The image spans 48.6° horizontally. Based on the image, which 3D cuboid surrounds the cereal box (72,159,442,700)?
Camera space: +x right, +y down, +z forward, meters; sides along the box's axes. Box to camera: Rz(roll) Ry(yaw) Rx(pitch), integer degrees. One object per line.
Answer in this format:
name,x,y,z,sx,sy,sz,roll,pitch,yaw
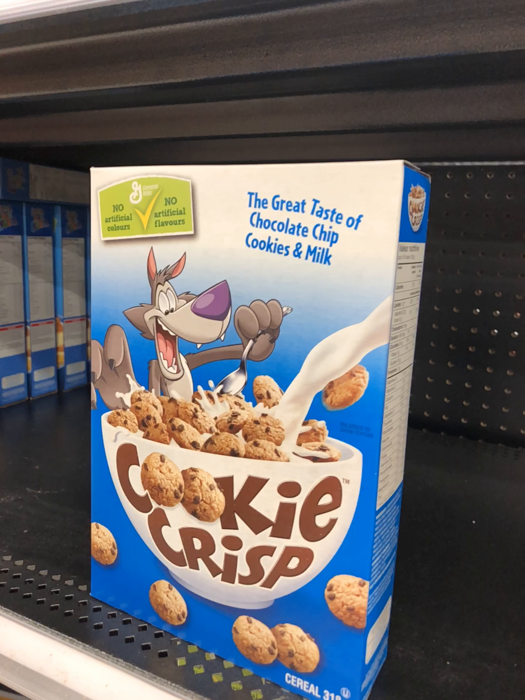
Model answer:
cereal box,-0.016,0.040,0.342,0.200,0.279,0.060,8,11,29
